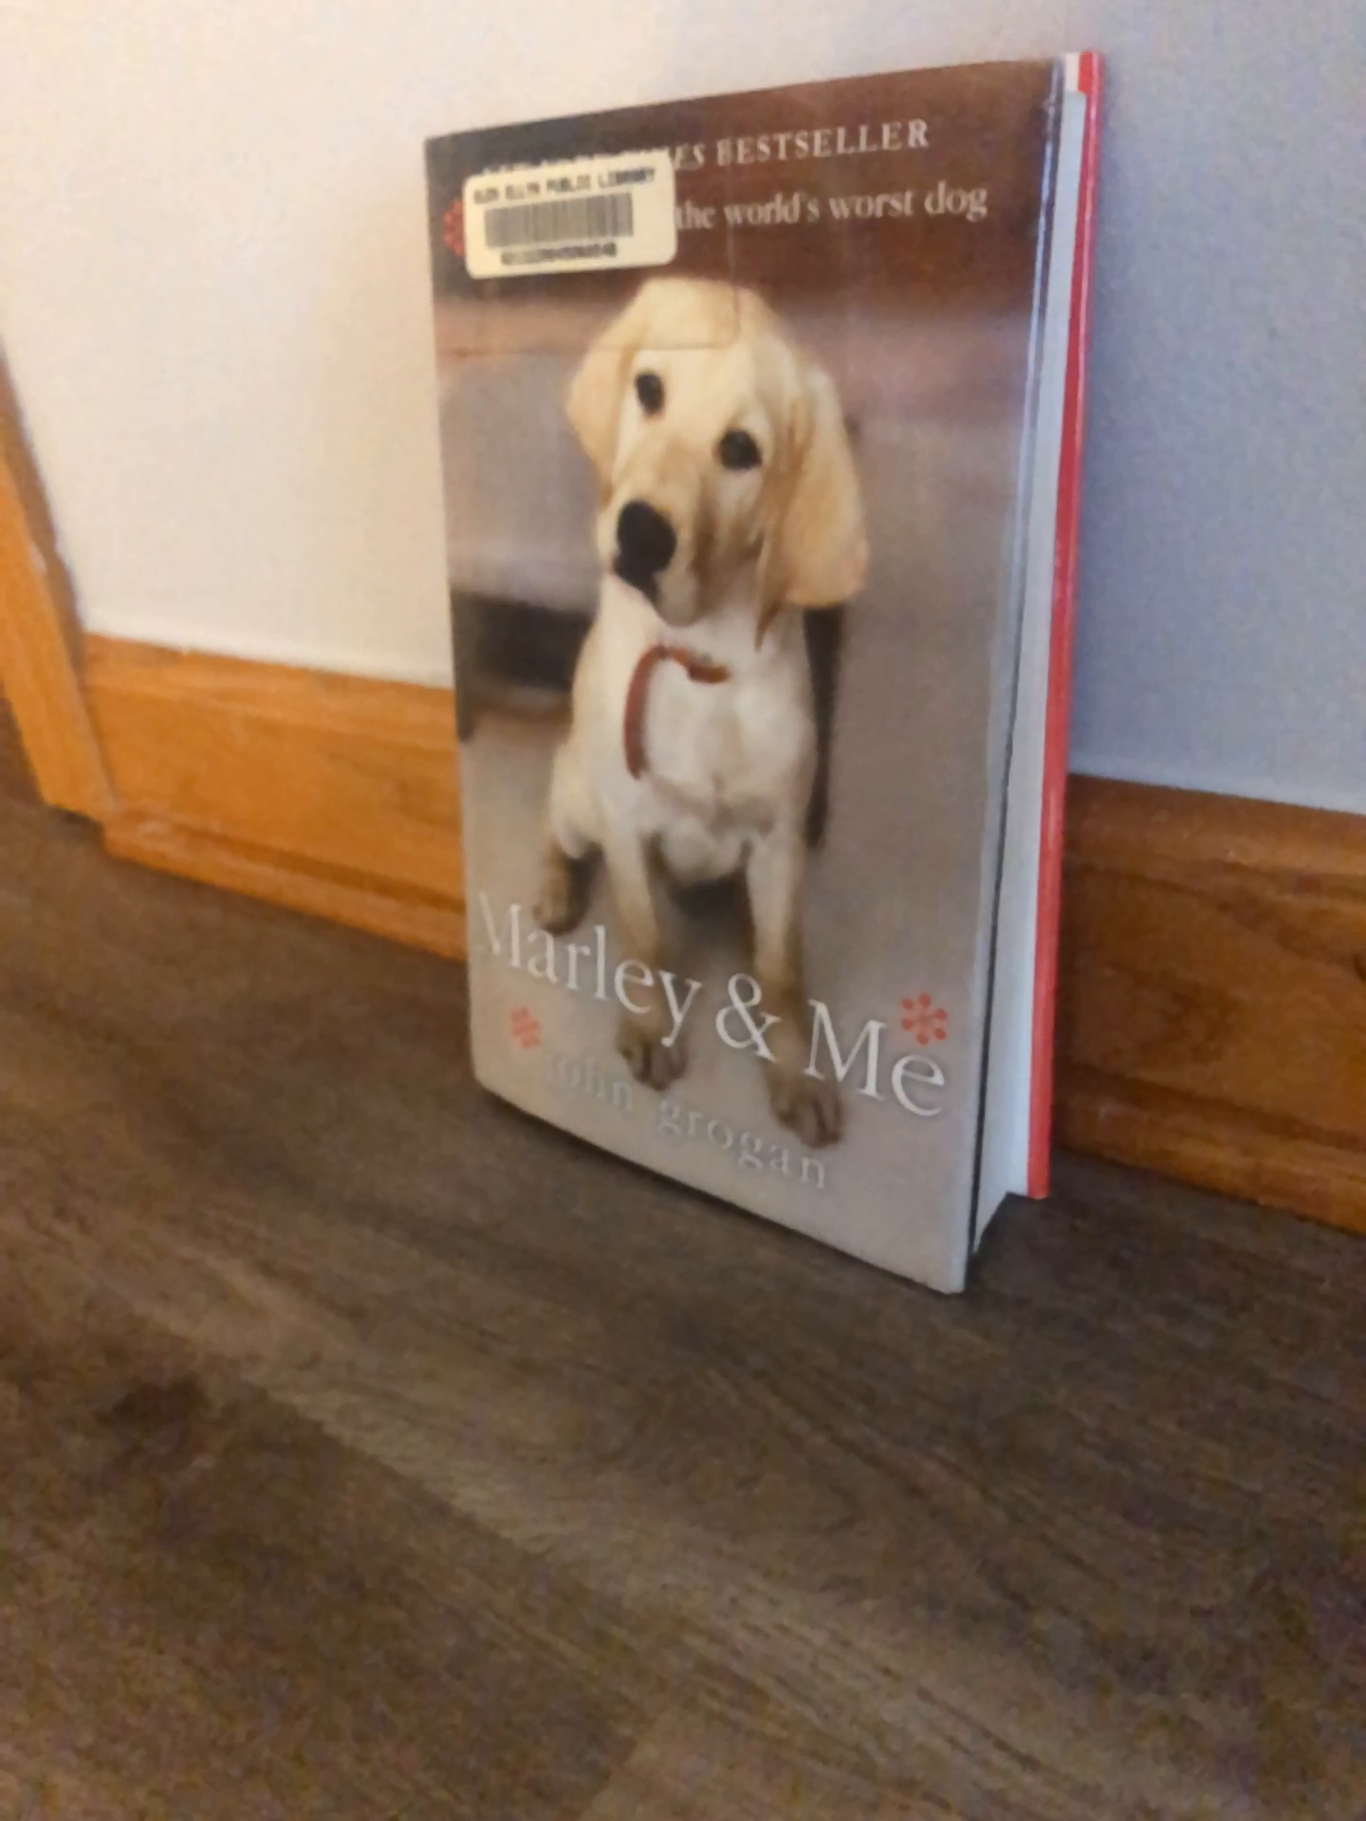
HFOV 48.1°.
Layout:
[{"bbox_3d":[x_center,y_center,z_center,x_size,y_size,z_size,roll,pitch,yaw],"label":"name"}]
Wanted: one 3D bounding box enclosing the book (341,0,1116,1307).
[{"bbox_3d":[0.003,-0.050,0.315,0.151,0.219,0.040,15,25,39],"label":"book"}]
